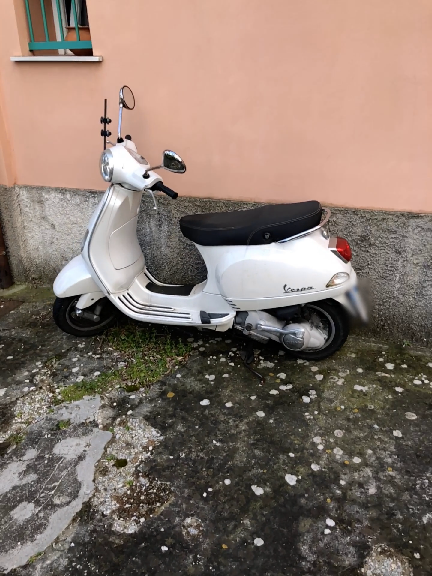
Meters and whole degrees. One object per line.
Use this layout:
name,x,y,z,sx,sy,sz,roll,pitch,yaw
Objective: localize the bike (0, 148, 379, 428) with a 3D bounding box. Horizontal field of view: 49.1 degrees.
bike,-0.166,-0.024,2.273,1.657,1.085,0.647,2,24,12
